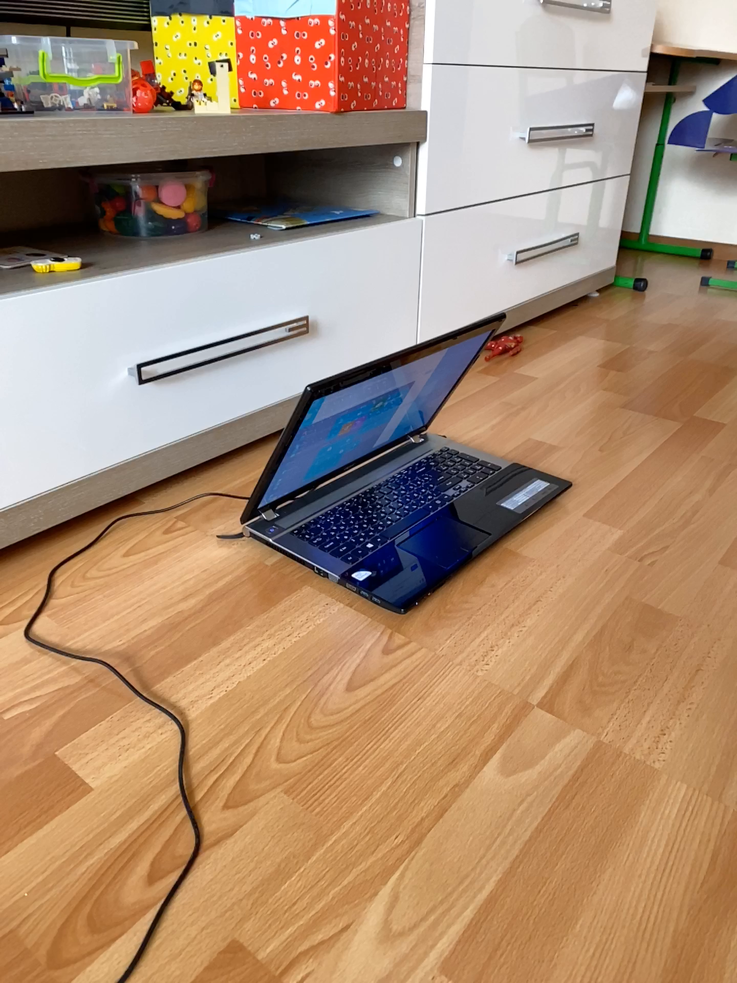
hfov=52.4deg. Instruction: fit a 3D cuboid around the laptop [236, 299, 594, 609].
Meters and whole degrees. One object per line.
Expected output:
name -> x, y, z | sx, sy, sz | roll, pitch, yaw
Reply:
laptop -> 0.072, -0.085, 1.015 | 0.269, 0.233, 0.413 | 22, 34, 35
